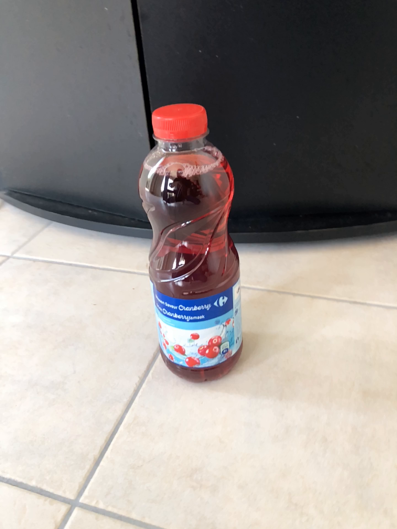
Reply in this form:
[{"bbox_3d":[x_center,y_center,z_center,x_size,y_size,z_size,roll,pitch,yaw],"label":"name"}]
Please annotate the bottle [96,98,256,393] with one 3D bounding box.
[{"bbox_3d":[-0.004,-0.013,0.394,0.090,0.239,0.101,7,34,18],"label":"bottle"}]
